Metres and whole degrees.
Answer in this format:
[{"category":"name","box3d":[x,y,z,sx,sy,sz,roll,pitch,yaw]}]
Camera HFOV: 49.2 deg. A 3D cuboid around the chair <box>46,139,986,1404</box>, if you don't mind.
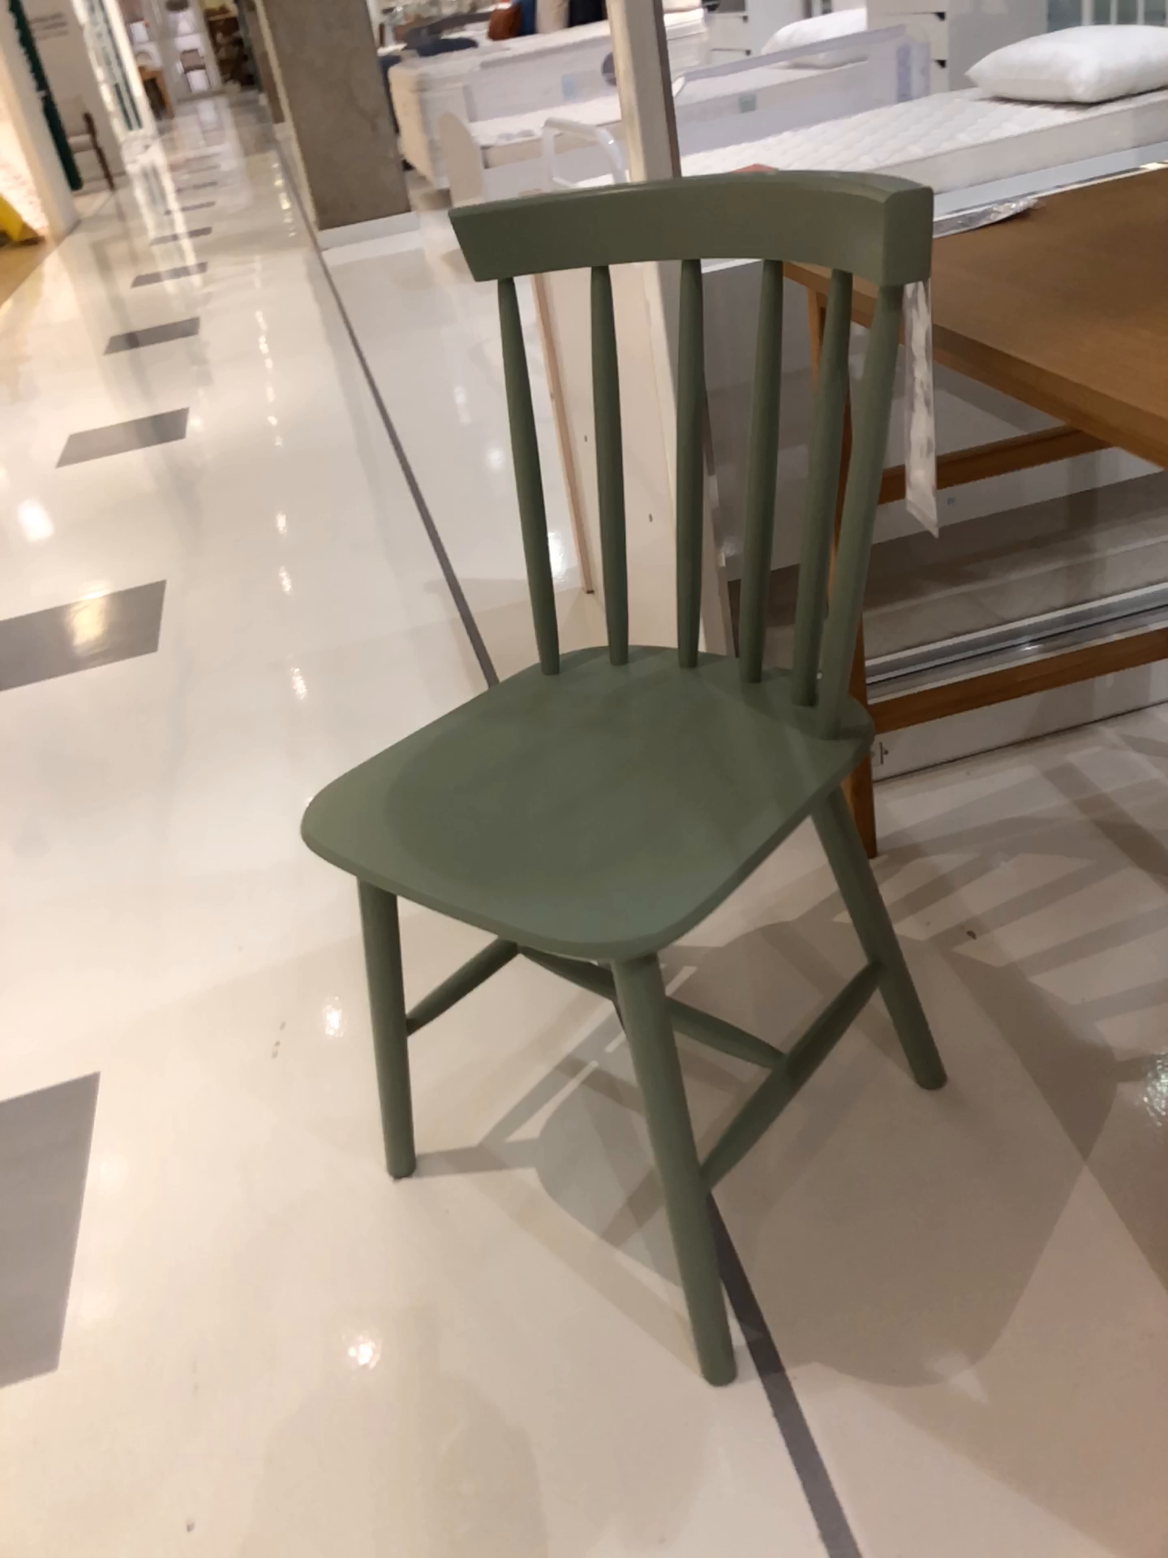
[{"category":"chair","box3d":[0.021,-0.020,1.079,0.452,0.833,0.462,16,41,38]}]
